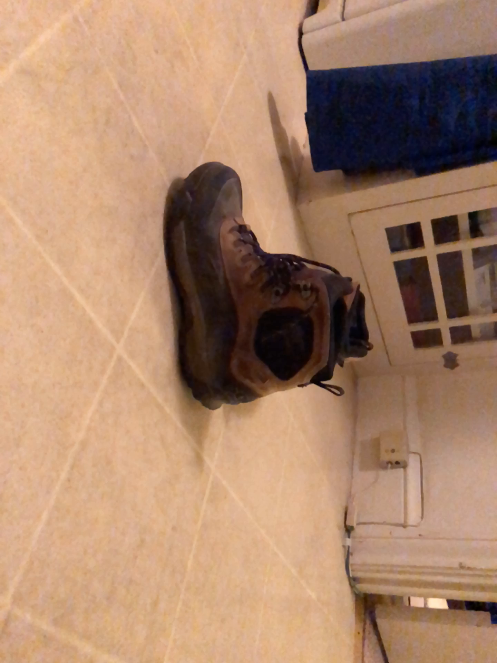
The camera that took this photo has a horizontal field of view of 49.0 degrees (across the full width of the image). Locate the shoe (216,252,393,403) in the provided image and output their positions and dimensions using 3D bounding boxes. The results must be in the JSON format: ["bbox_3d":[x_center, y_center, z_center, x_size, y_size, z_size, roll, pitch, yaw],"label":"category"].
[{"bbox_3d":[0.103,-0.017,0.818,0.294,0.185,0.113,-48,128,-63],"label":"shoe"}]

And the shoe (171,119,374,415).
[{"bbox_3d":[0.029,-0.061,0.648,0.122,0.185,0.299,12,72,-68],"label":"shoe"}]
